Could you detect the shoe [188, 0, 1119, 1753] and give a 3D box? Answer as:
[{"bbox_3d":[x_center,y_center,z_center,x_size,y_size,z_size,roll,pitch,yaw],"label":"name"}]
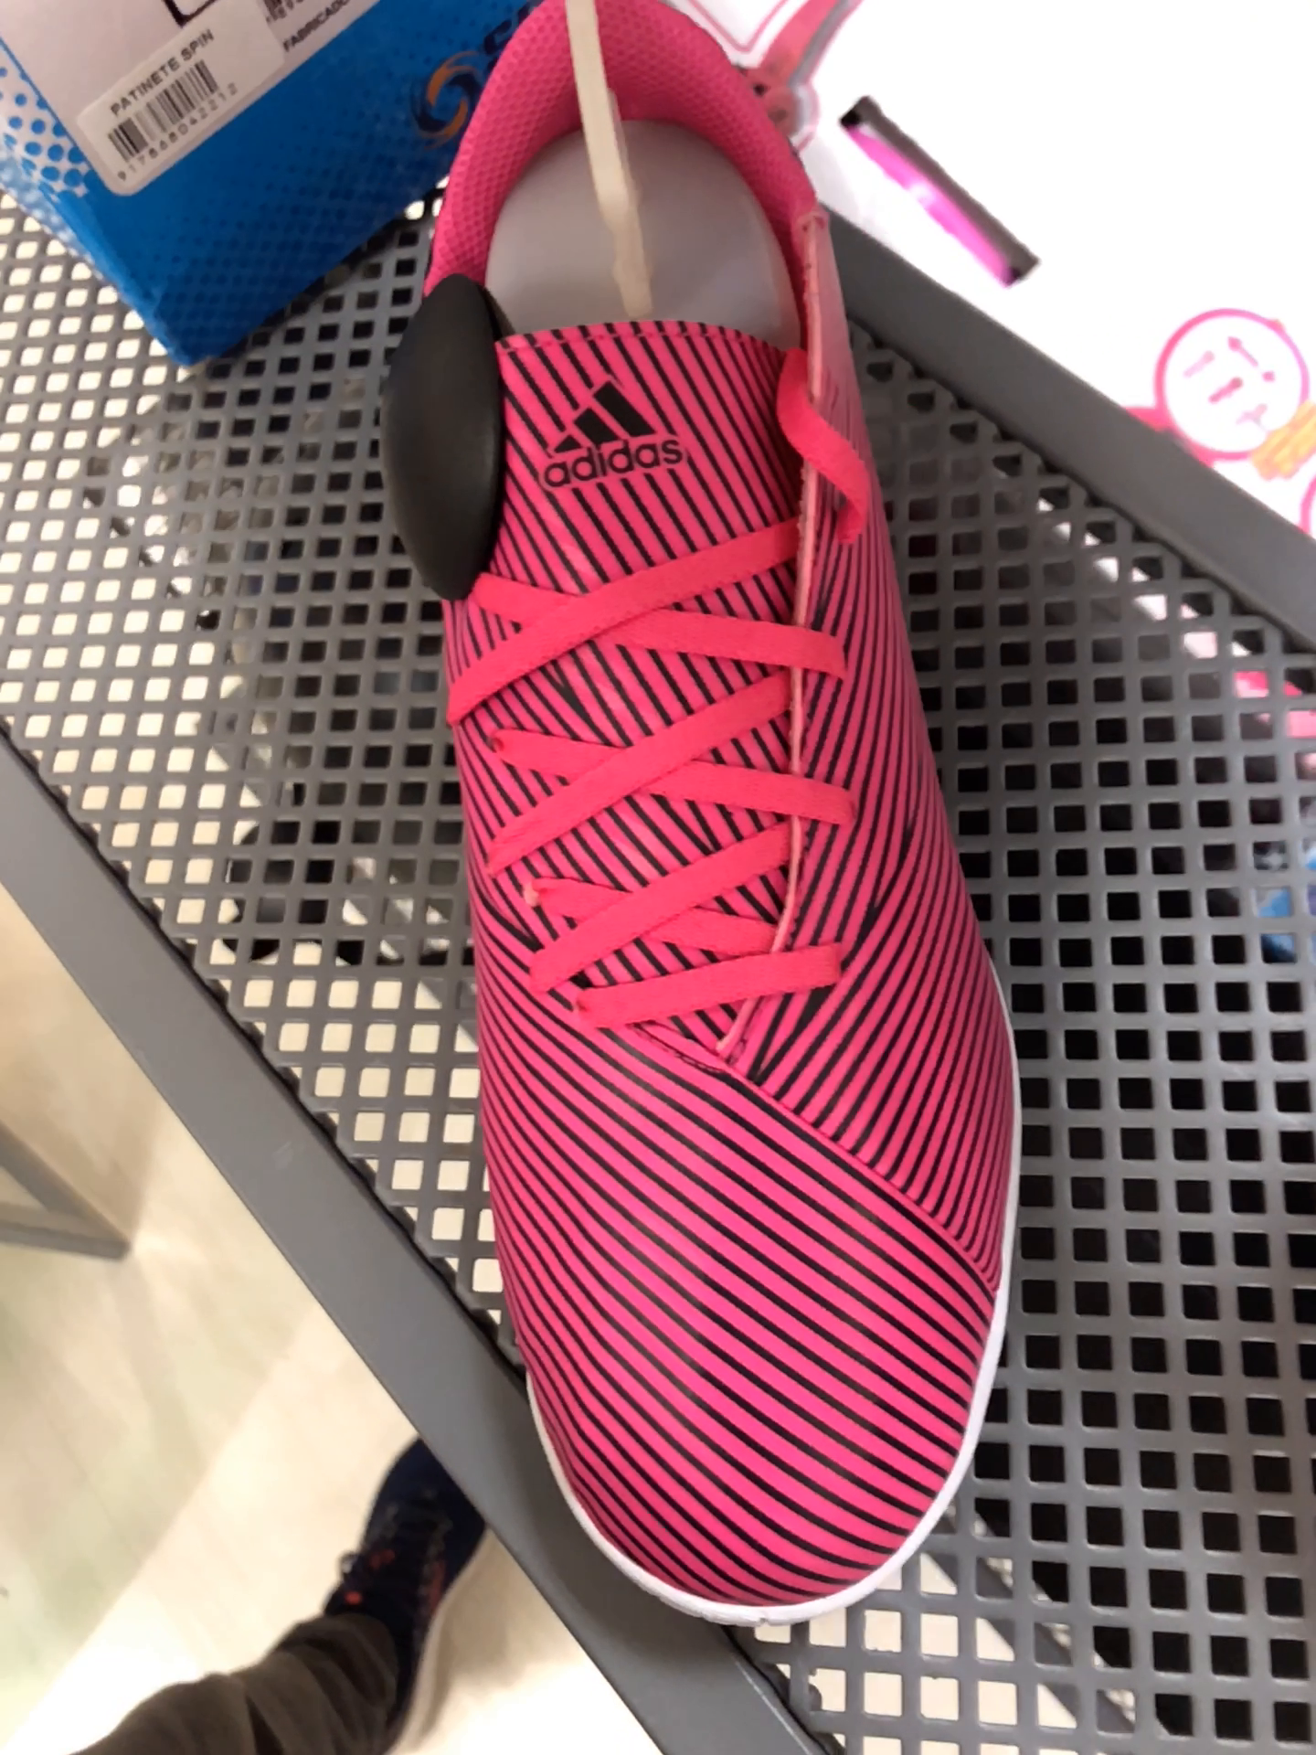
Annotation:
[{"bbox_3d":[0.004,-0.018,0.239,0.095,0.100,0.261,-6,69,11],"label":"shoe"}]
